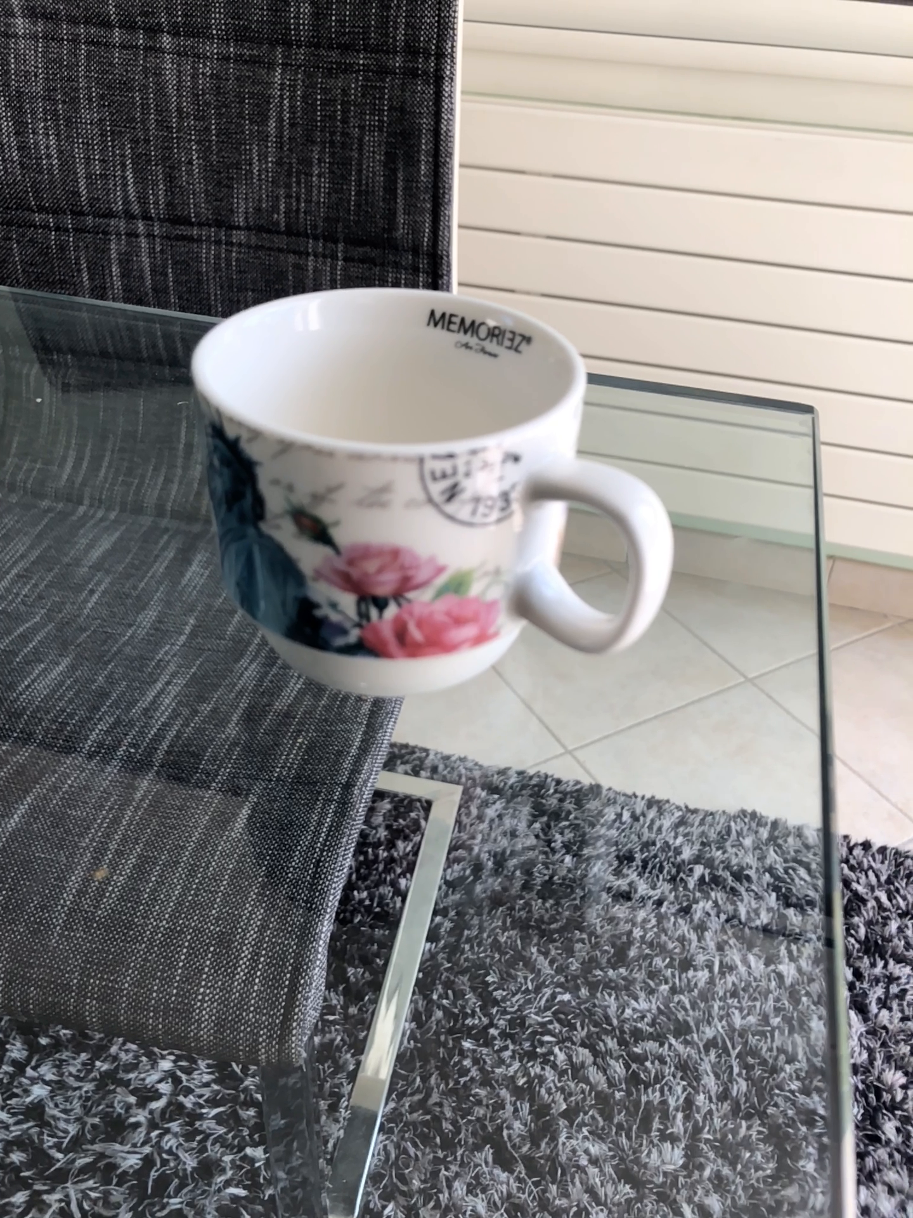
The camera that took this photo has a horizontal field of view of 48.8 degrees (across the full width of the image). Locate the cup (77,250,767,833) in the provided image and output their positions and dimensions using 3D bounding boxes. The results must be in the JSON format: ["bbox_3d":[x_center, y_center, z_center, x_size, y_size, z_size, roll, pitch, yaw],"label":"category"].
[{"bbox_3d":[-0.008,-0.021,0.179,0.090,0.050,0.070,31,45,33],"label":"cup"}]
